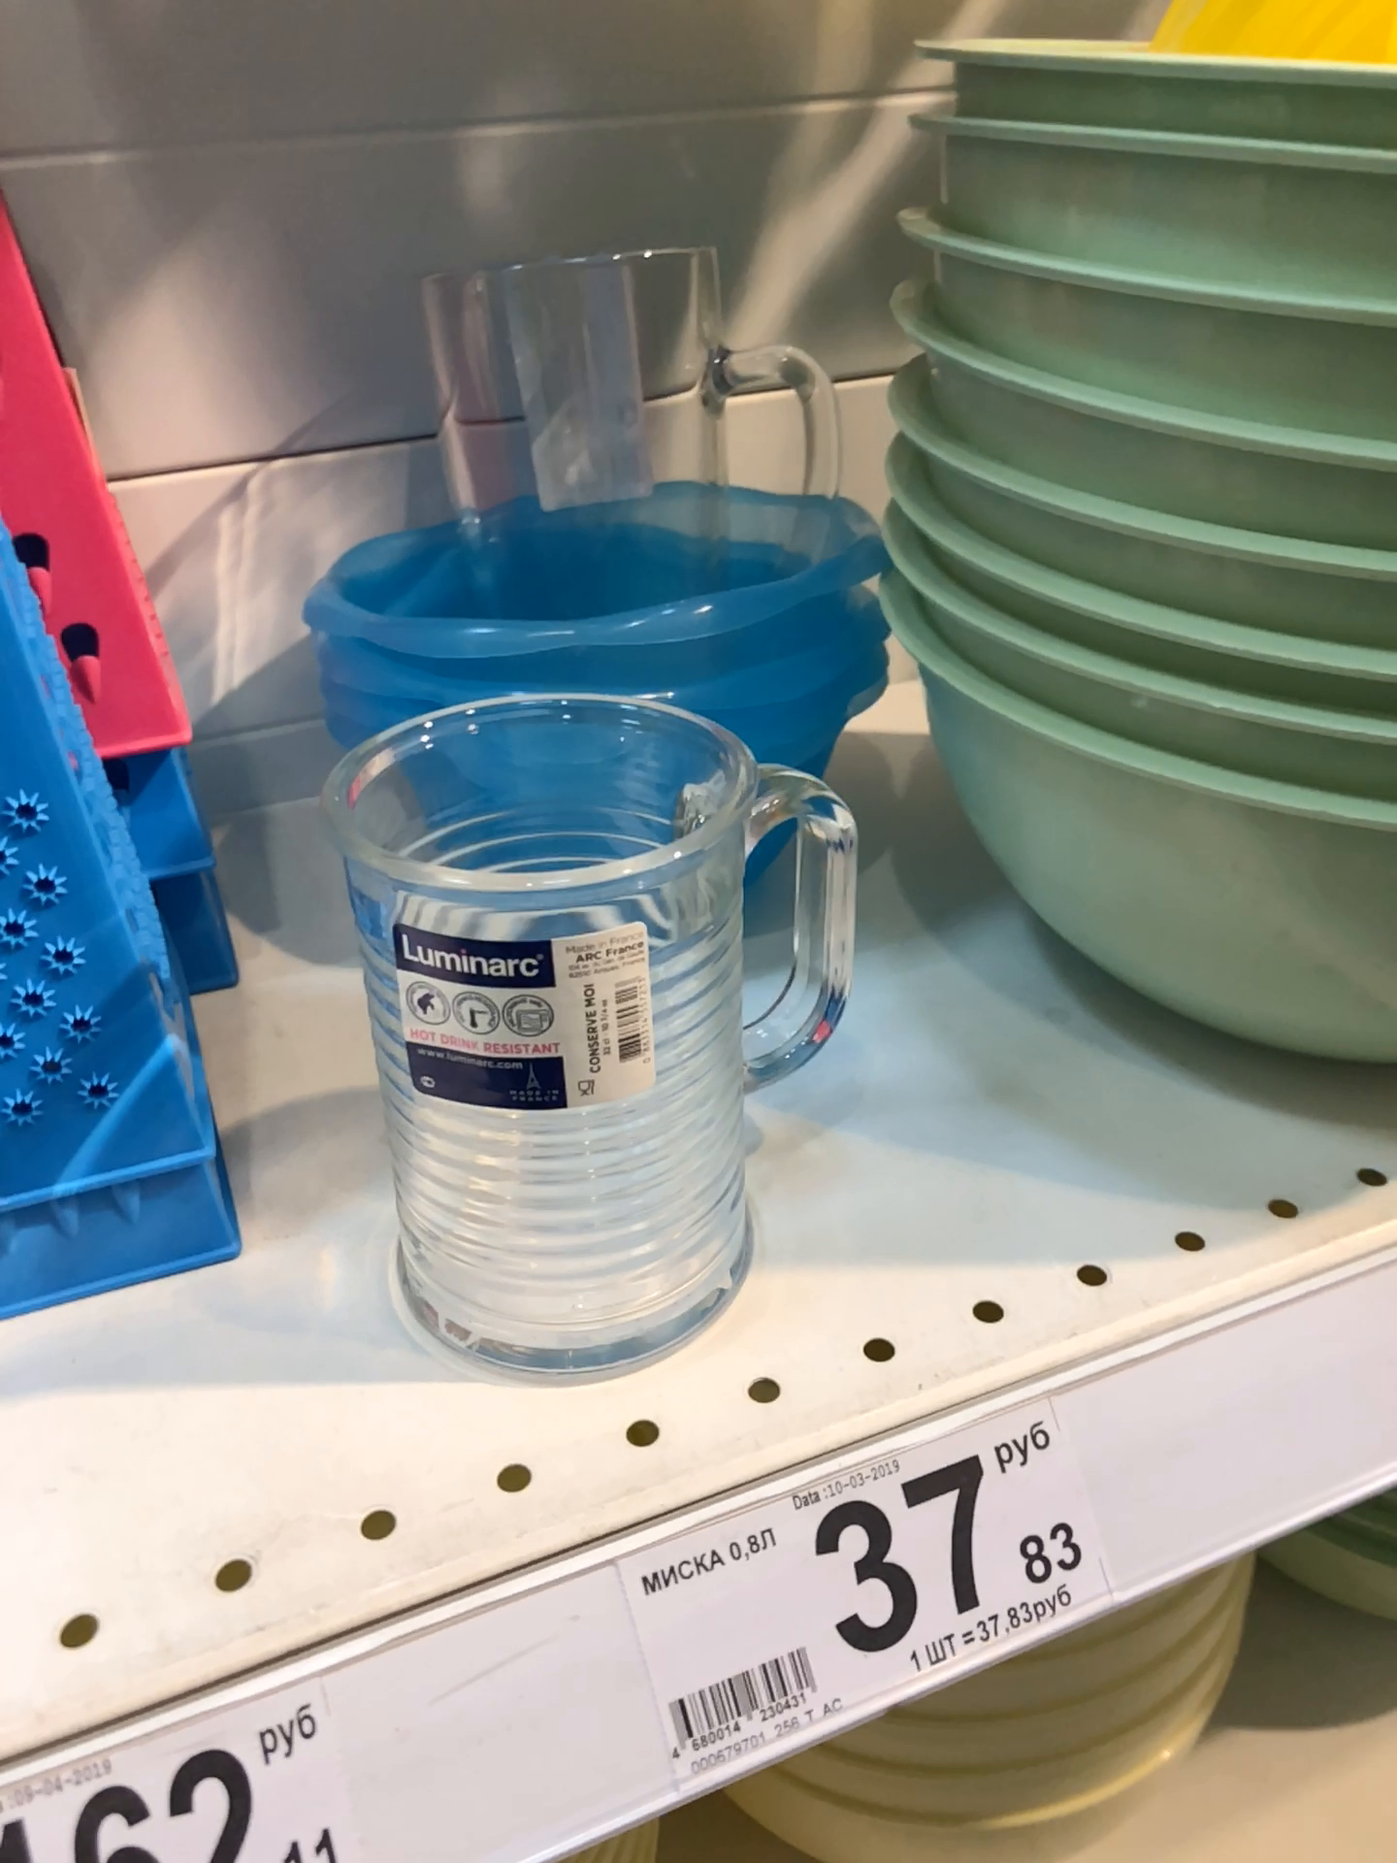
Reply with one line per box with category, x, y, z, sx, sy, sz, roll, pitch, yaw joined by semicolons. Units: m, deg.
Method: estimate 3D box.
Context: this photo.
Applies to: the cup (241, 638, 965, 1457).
cup;-0.019;0.016;0.300;0.102;0.104;0.087;-16;36;-20
